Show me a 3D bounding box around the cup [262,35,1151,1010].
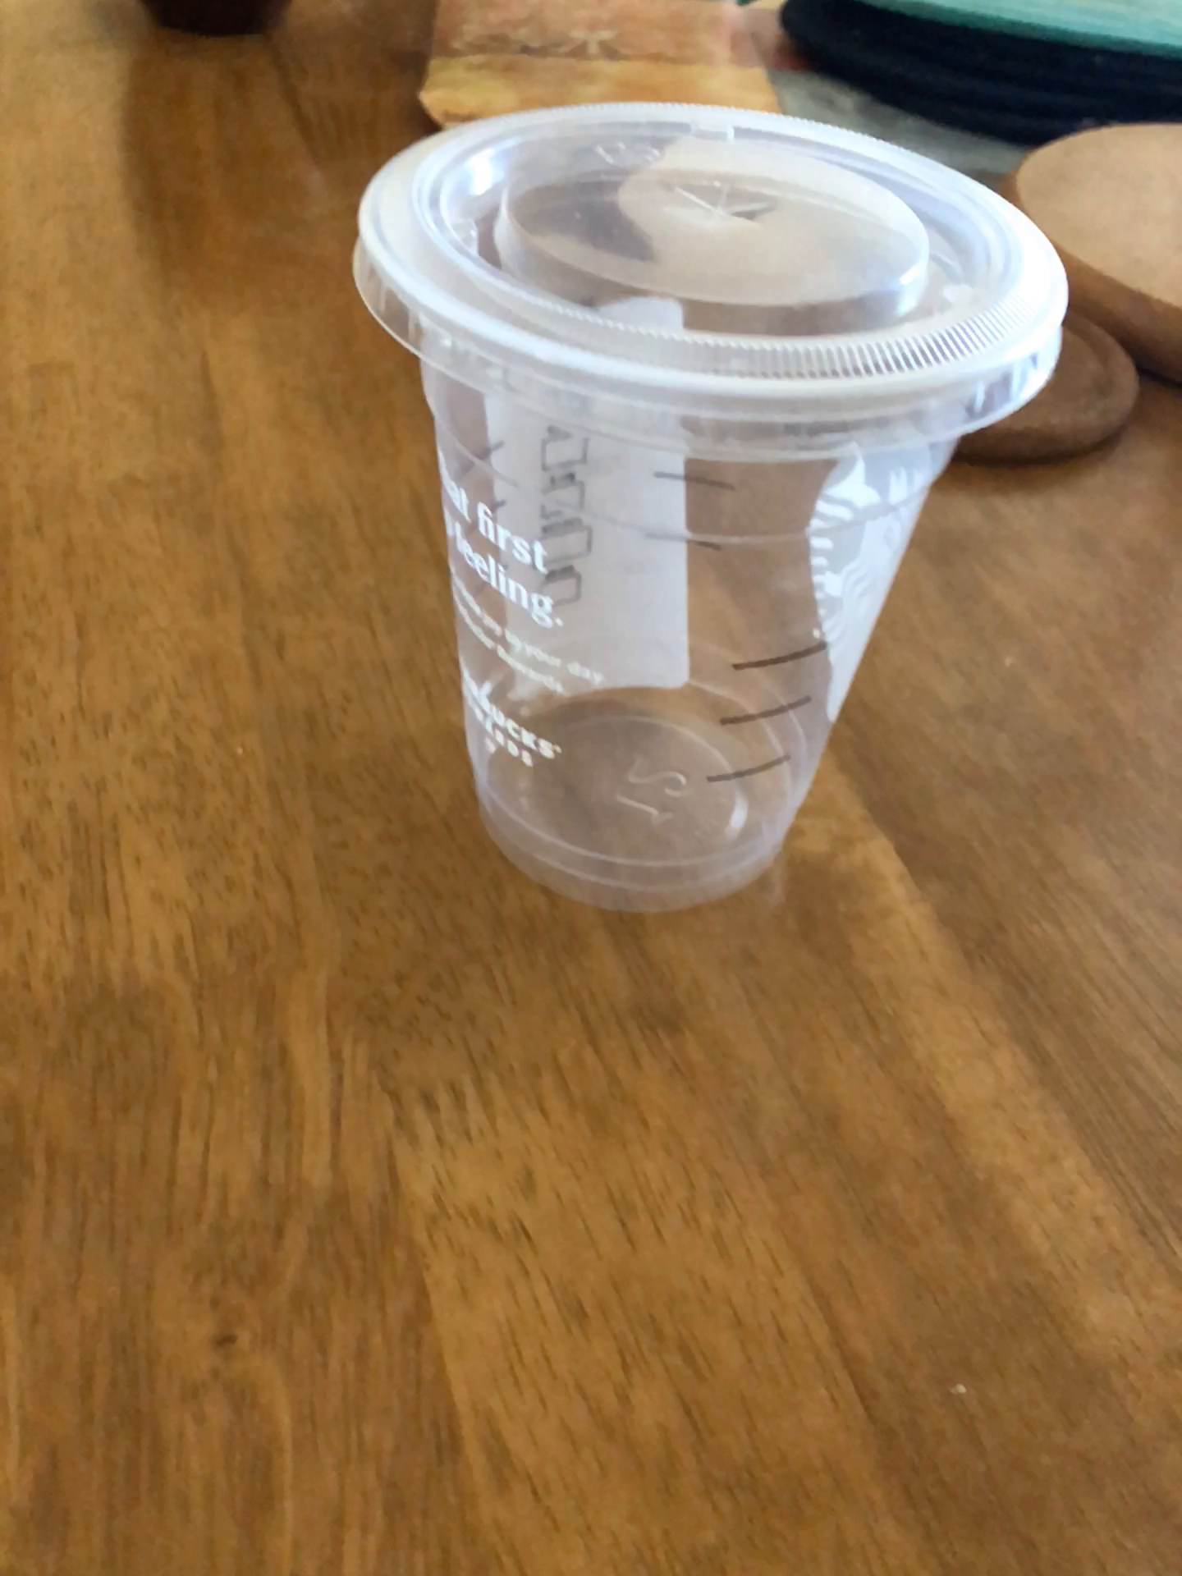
[{"bbox_3d":[0.012,-0.042,0.204,0.090,0.100,0.100,7,44,1],"label":"cup"}]
